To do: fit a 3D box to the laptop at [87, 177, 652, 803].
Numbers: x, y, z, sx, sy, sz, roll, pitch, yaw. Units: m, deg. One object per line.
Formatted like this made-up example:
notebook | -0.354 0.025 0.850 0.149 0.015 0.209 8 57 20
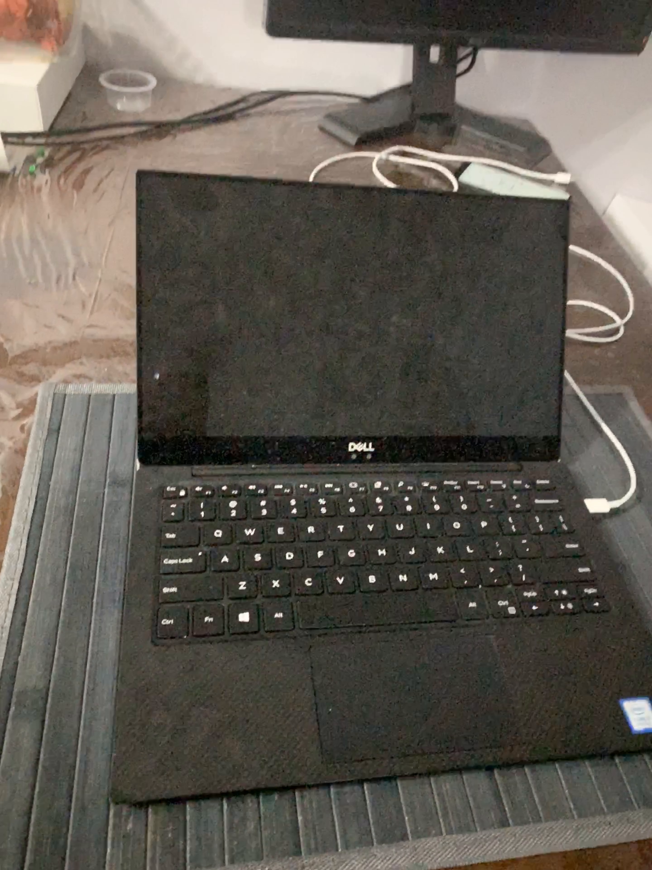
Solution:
laptop | 0.044 0.000 0.361 0.282 0.129 0.299 0 45 -11
